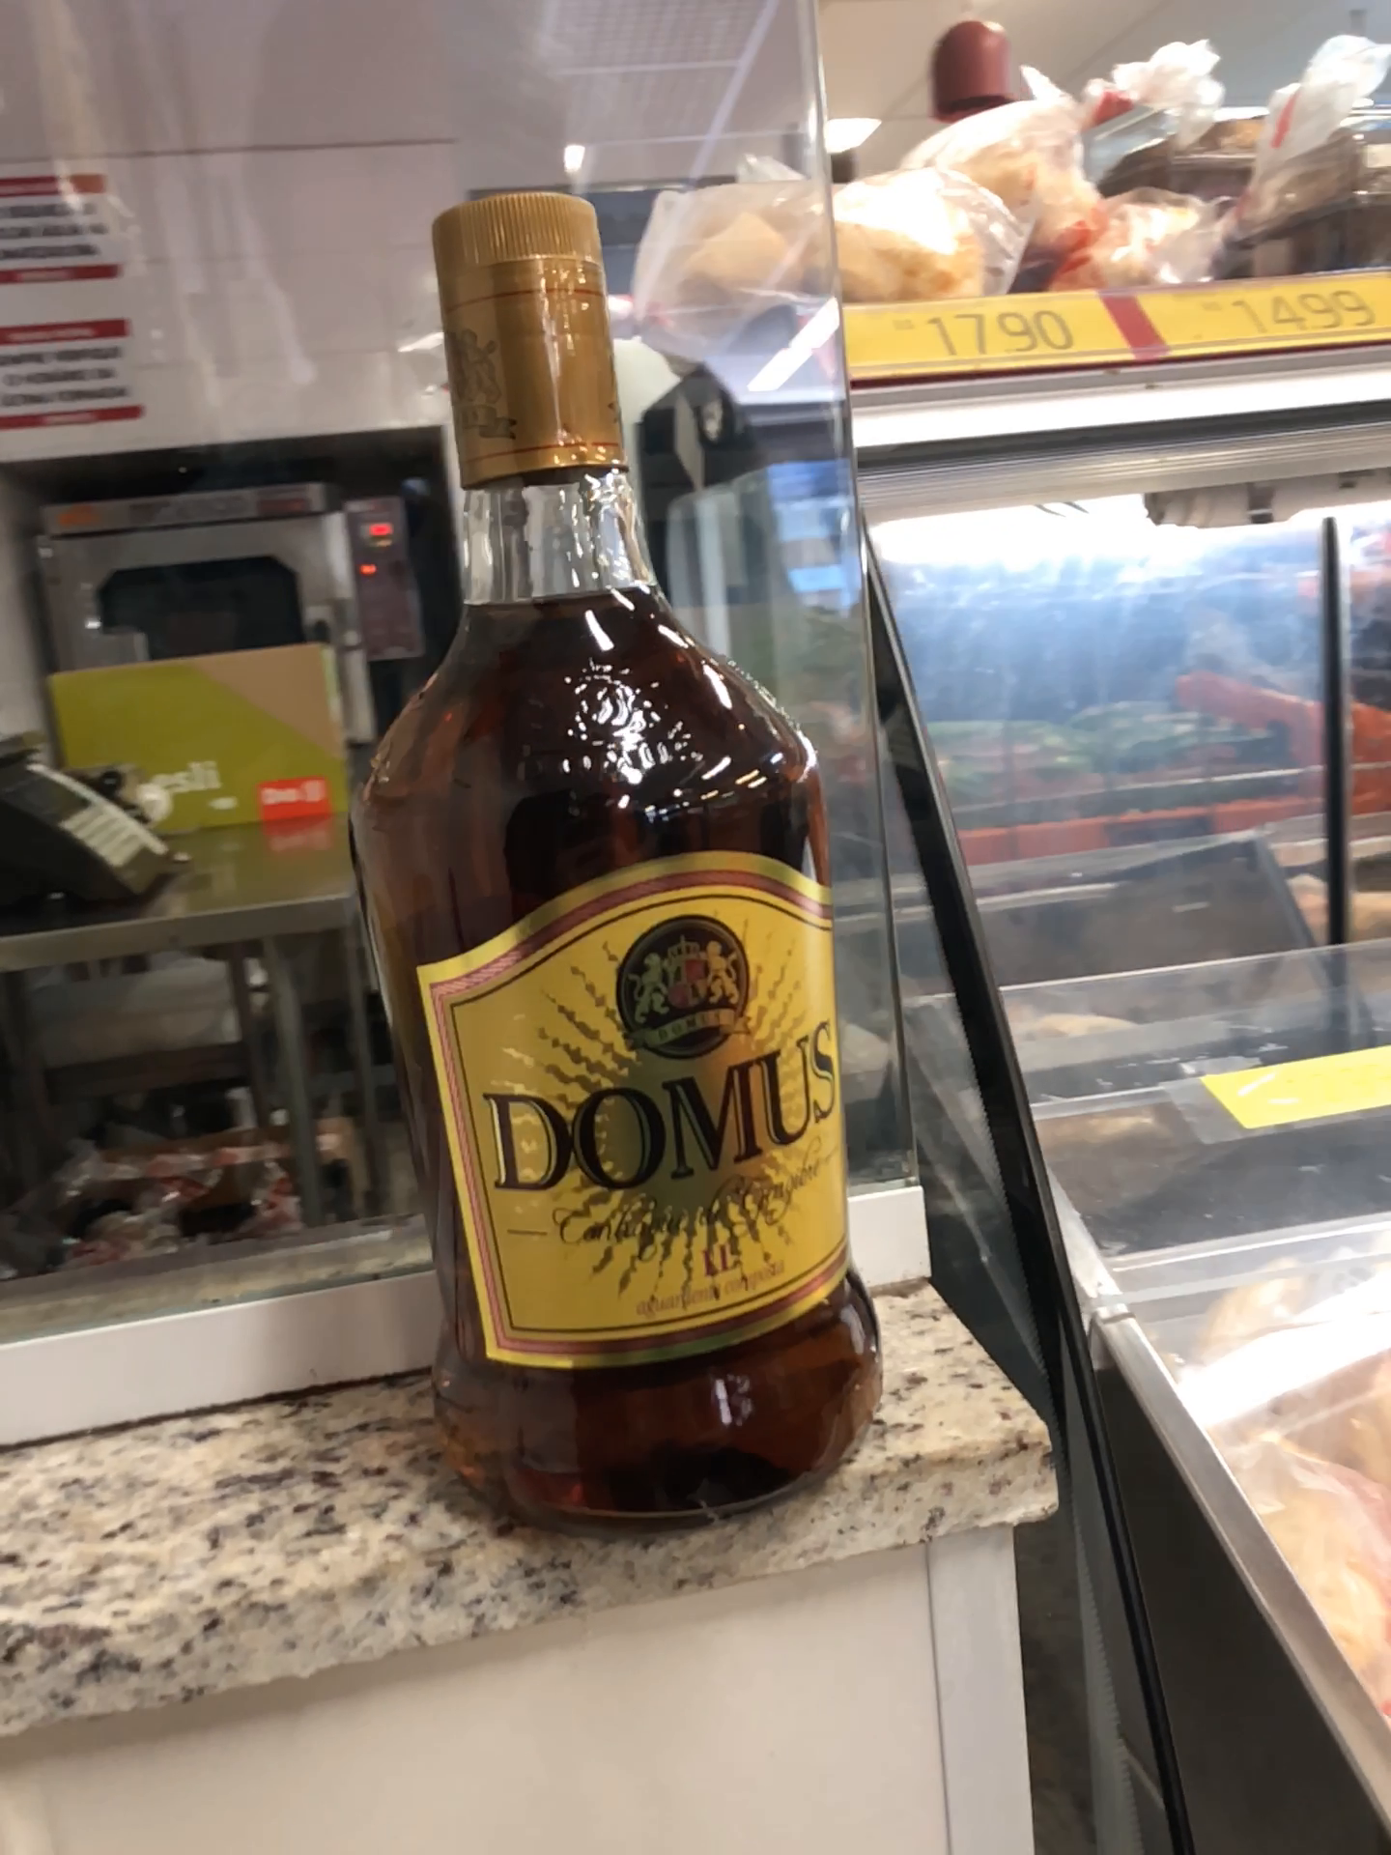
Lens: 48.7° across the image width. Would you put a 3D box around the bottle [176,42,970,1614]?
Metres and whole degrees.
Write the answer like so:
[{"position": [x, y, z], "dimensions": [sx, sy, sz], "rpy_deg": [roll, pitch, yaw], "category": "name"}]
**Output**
[{"position": [-0.027, -0.021, 0.320], "dimensions": [0.100, 0.259, 0.110], "rpy_deg": [-11, 11, -24], "category": "bottle"}]
